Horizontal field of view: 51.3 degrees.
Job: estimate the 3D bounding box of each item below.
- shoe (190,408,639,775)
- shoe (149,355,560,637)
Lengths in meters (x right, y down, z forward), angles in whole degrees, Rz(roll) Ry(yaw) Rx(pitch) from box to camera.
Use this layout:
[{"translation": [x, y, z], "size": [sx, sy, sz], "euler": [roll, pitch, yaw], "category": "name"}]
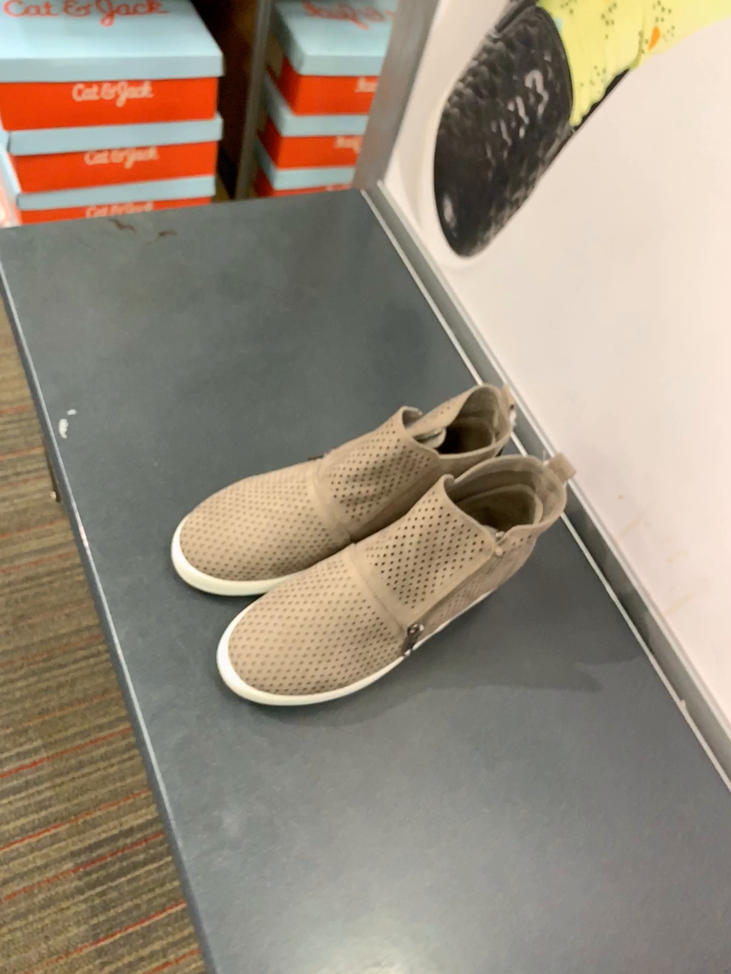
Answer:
[{"translation": [0.027, 0.064, 0.496], "size": [0.251, 0.140, 0.100], "euler": [-22, 67, -27], "category": "shoe"}, {"translation": [-0.016, 0.004, 0.543], "size": [0.250, 0.140, 0.100], "euler": [-11, 62, -22], "category": "shoe"}]
